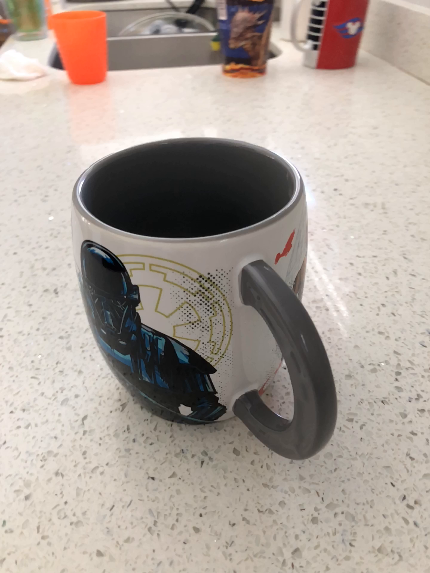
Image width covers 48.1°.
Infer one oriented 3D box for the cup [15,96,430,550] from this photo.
[{"bbox_3d":[-0.003,-0.003,0.201,0.100,0.100,0.141,-21,41,-24],"label":"cup"}]
